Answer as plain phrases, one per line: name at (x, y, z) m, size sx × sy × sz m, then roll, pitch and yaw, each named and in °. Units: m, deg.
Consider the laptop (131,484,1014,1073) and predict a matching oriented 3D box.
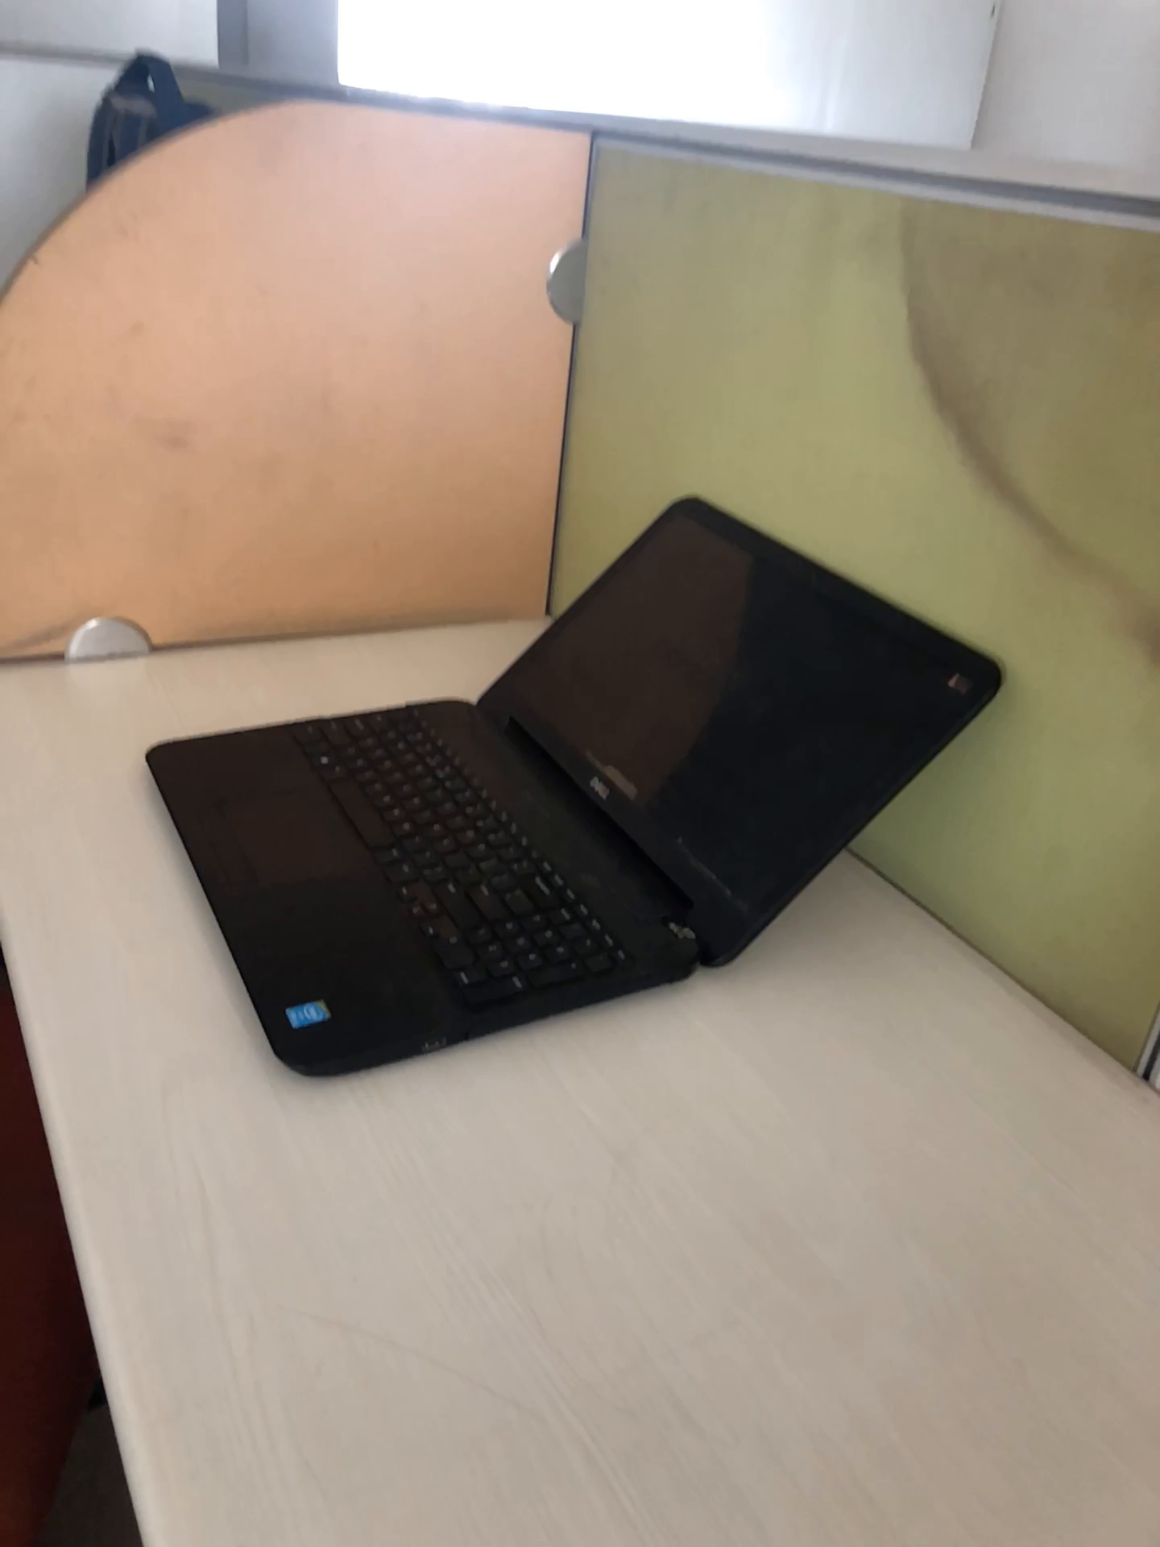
laptop at (-0.027, -0.041, 0.816) m, size 0.427 × 0.158 × 0.357 m, roll -10°, pitch 32°, yaw -26°
